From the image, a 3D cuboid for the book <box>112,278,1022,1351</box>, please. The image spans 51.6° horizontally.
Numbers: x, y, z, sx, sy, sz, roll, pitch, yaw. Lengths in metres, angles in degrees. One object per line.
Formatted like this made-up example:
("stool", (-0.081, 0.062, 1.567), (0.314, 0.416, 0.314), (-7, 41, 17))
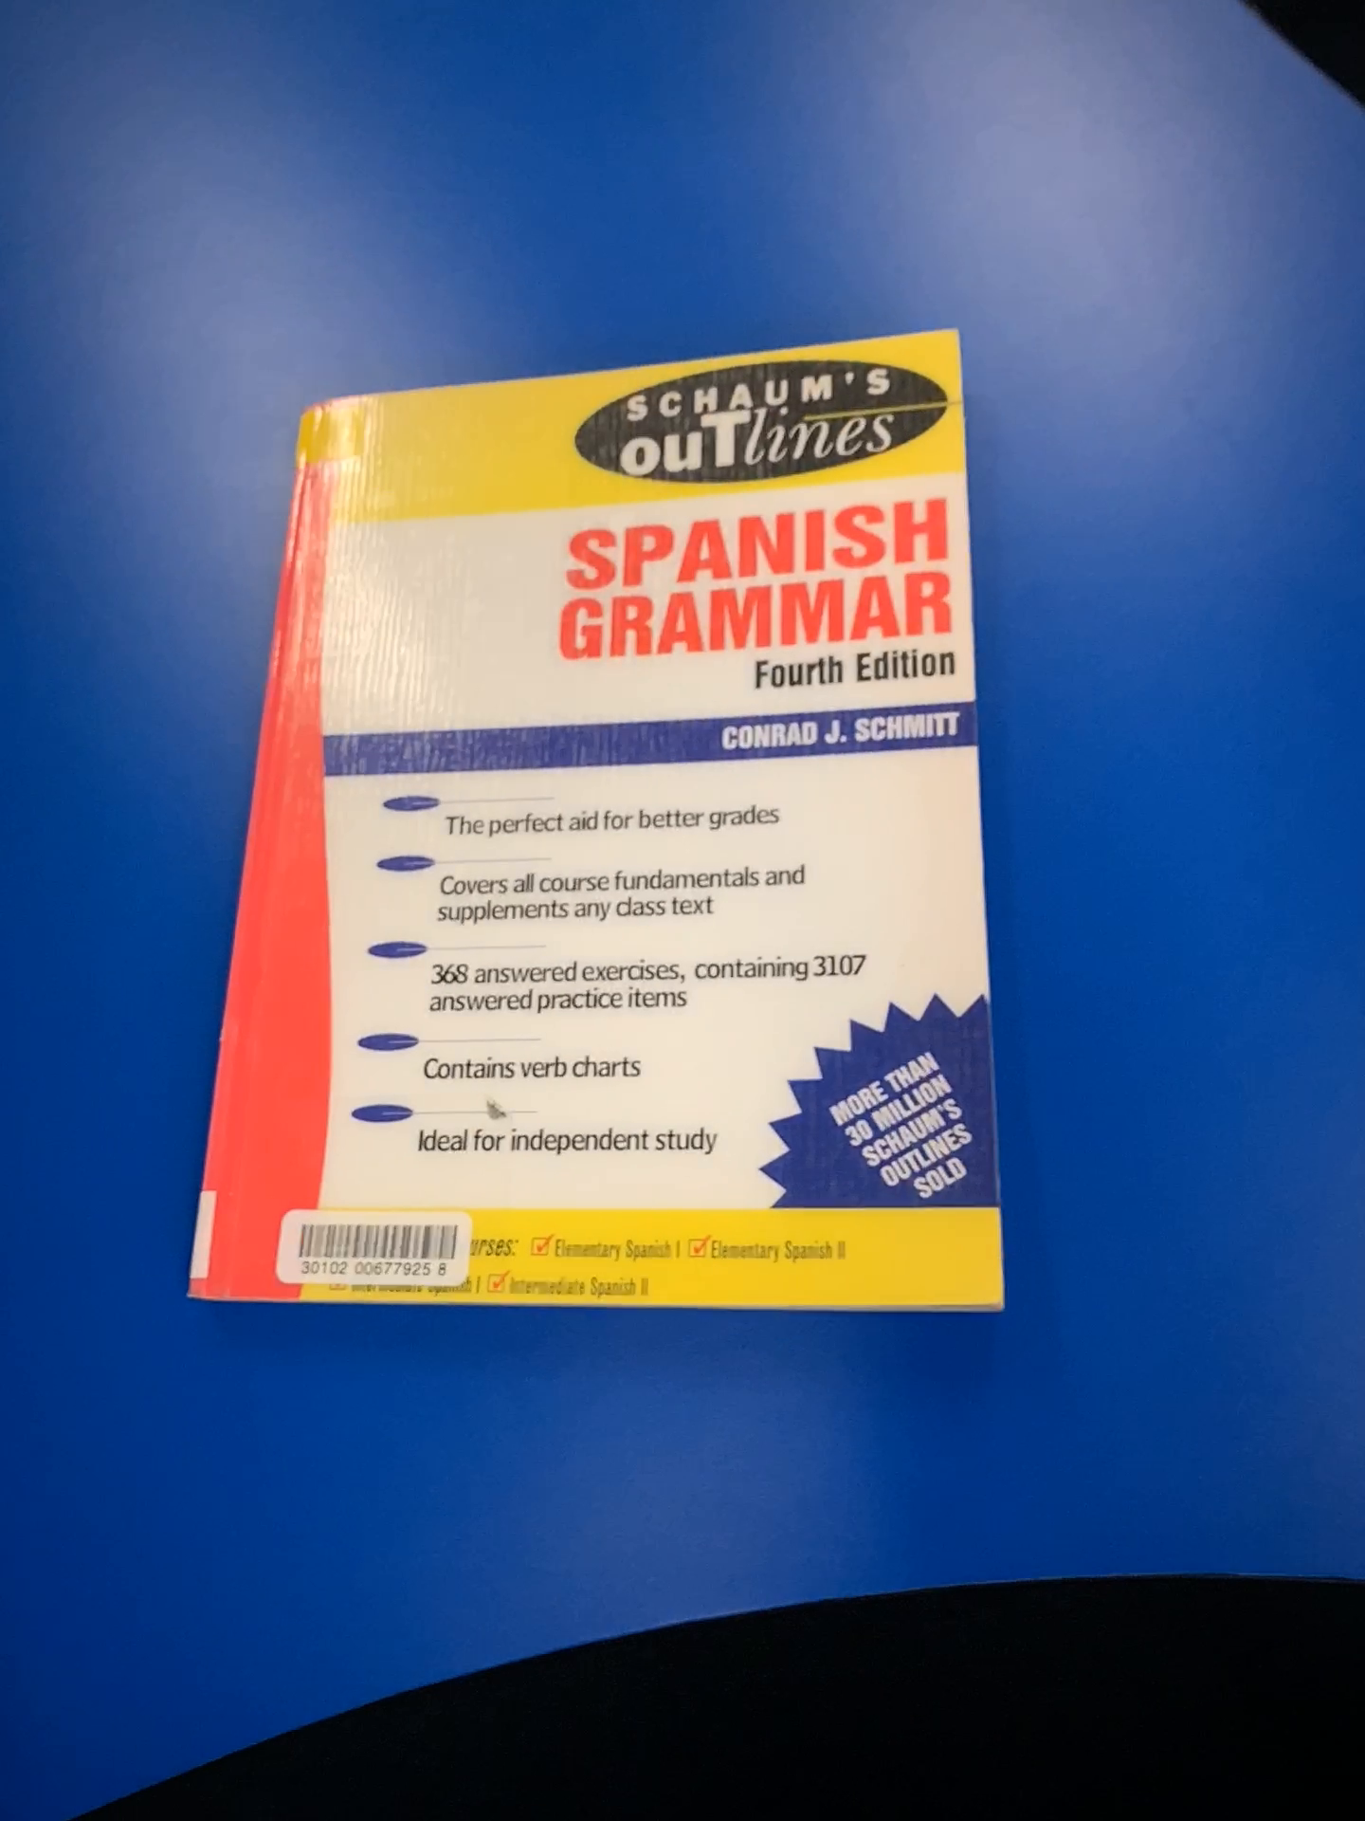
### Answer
("book", (-0.026, -0.031, 0.380), (0.210, 0.040, 0.281), (-2, 71, 10))
